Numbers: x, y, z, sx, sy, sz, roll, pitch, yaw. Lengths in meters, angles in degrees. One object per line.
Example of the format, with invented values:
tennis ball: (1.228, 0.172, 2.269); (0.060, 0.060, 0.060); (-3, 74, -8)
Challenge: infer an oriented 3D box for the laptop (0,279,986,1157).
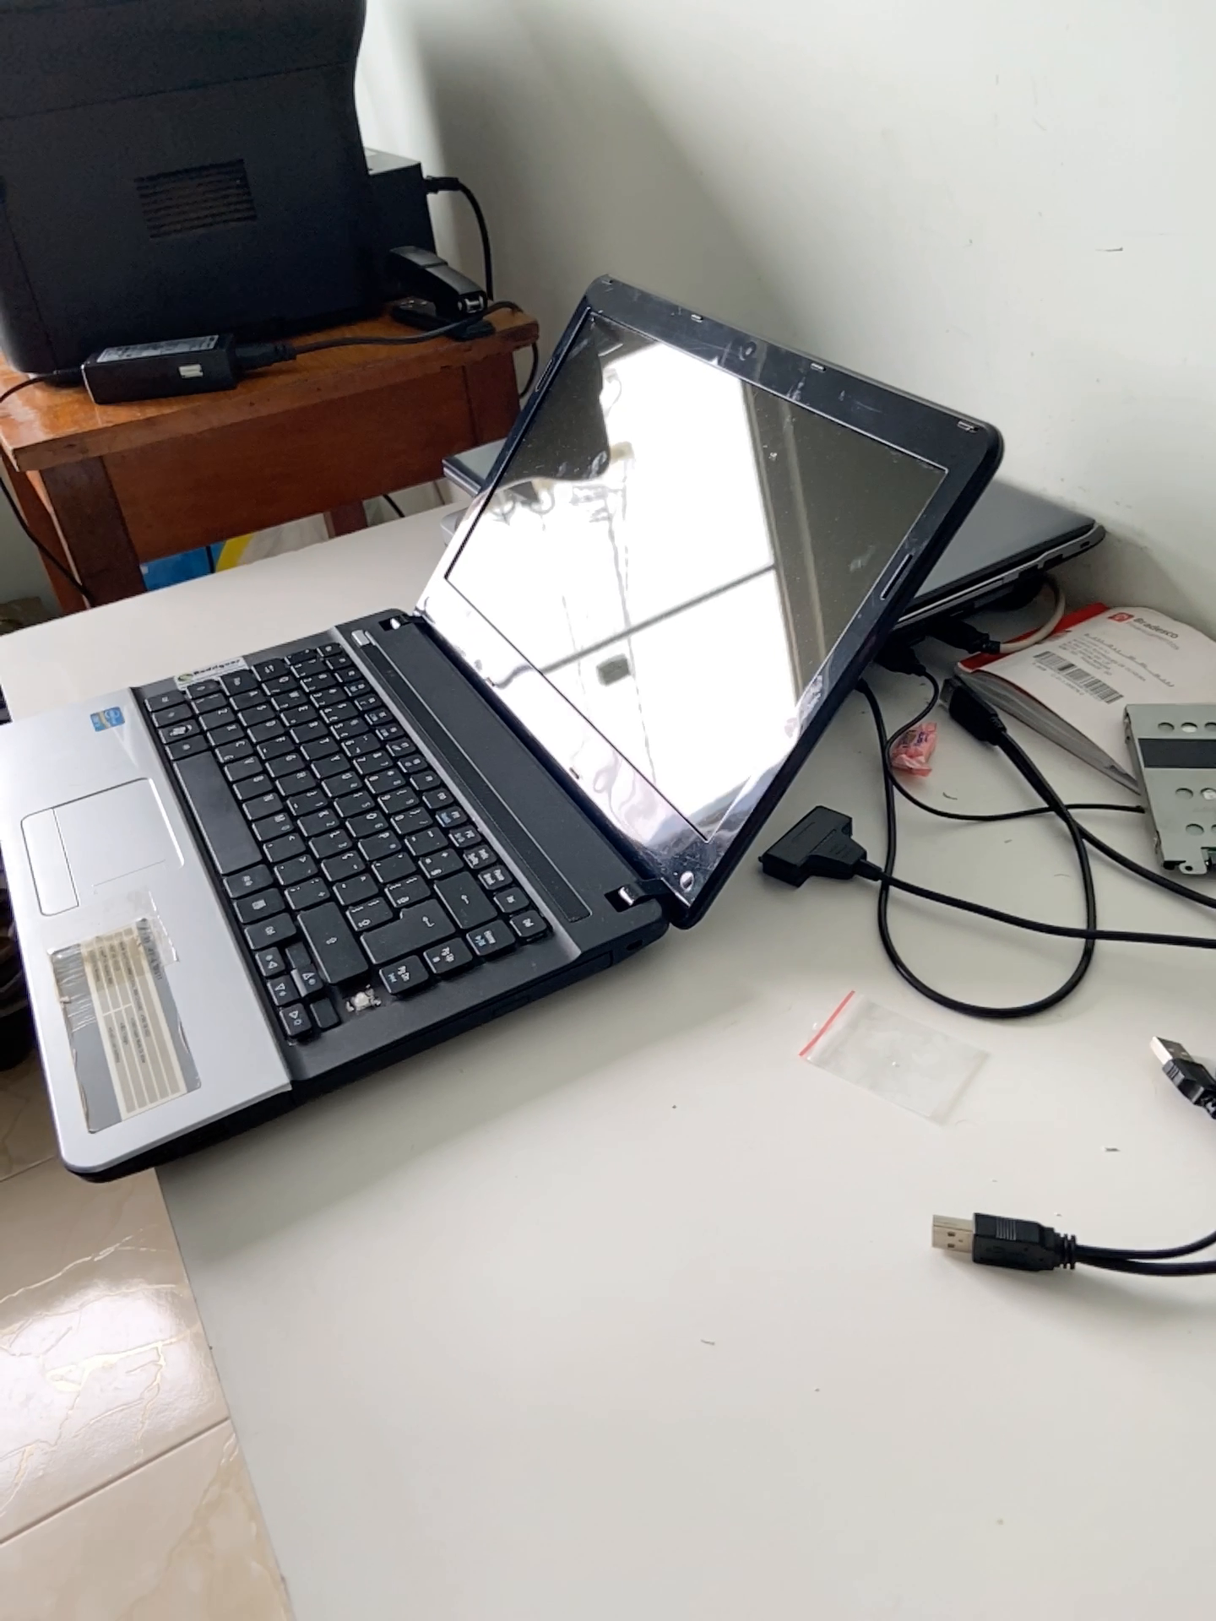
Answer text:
laptop: (-0.098, -0.092, 0.585); (0.396, 0.162, 0.334); (-21, 39, -19)
